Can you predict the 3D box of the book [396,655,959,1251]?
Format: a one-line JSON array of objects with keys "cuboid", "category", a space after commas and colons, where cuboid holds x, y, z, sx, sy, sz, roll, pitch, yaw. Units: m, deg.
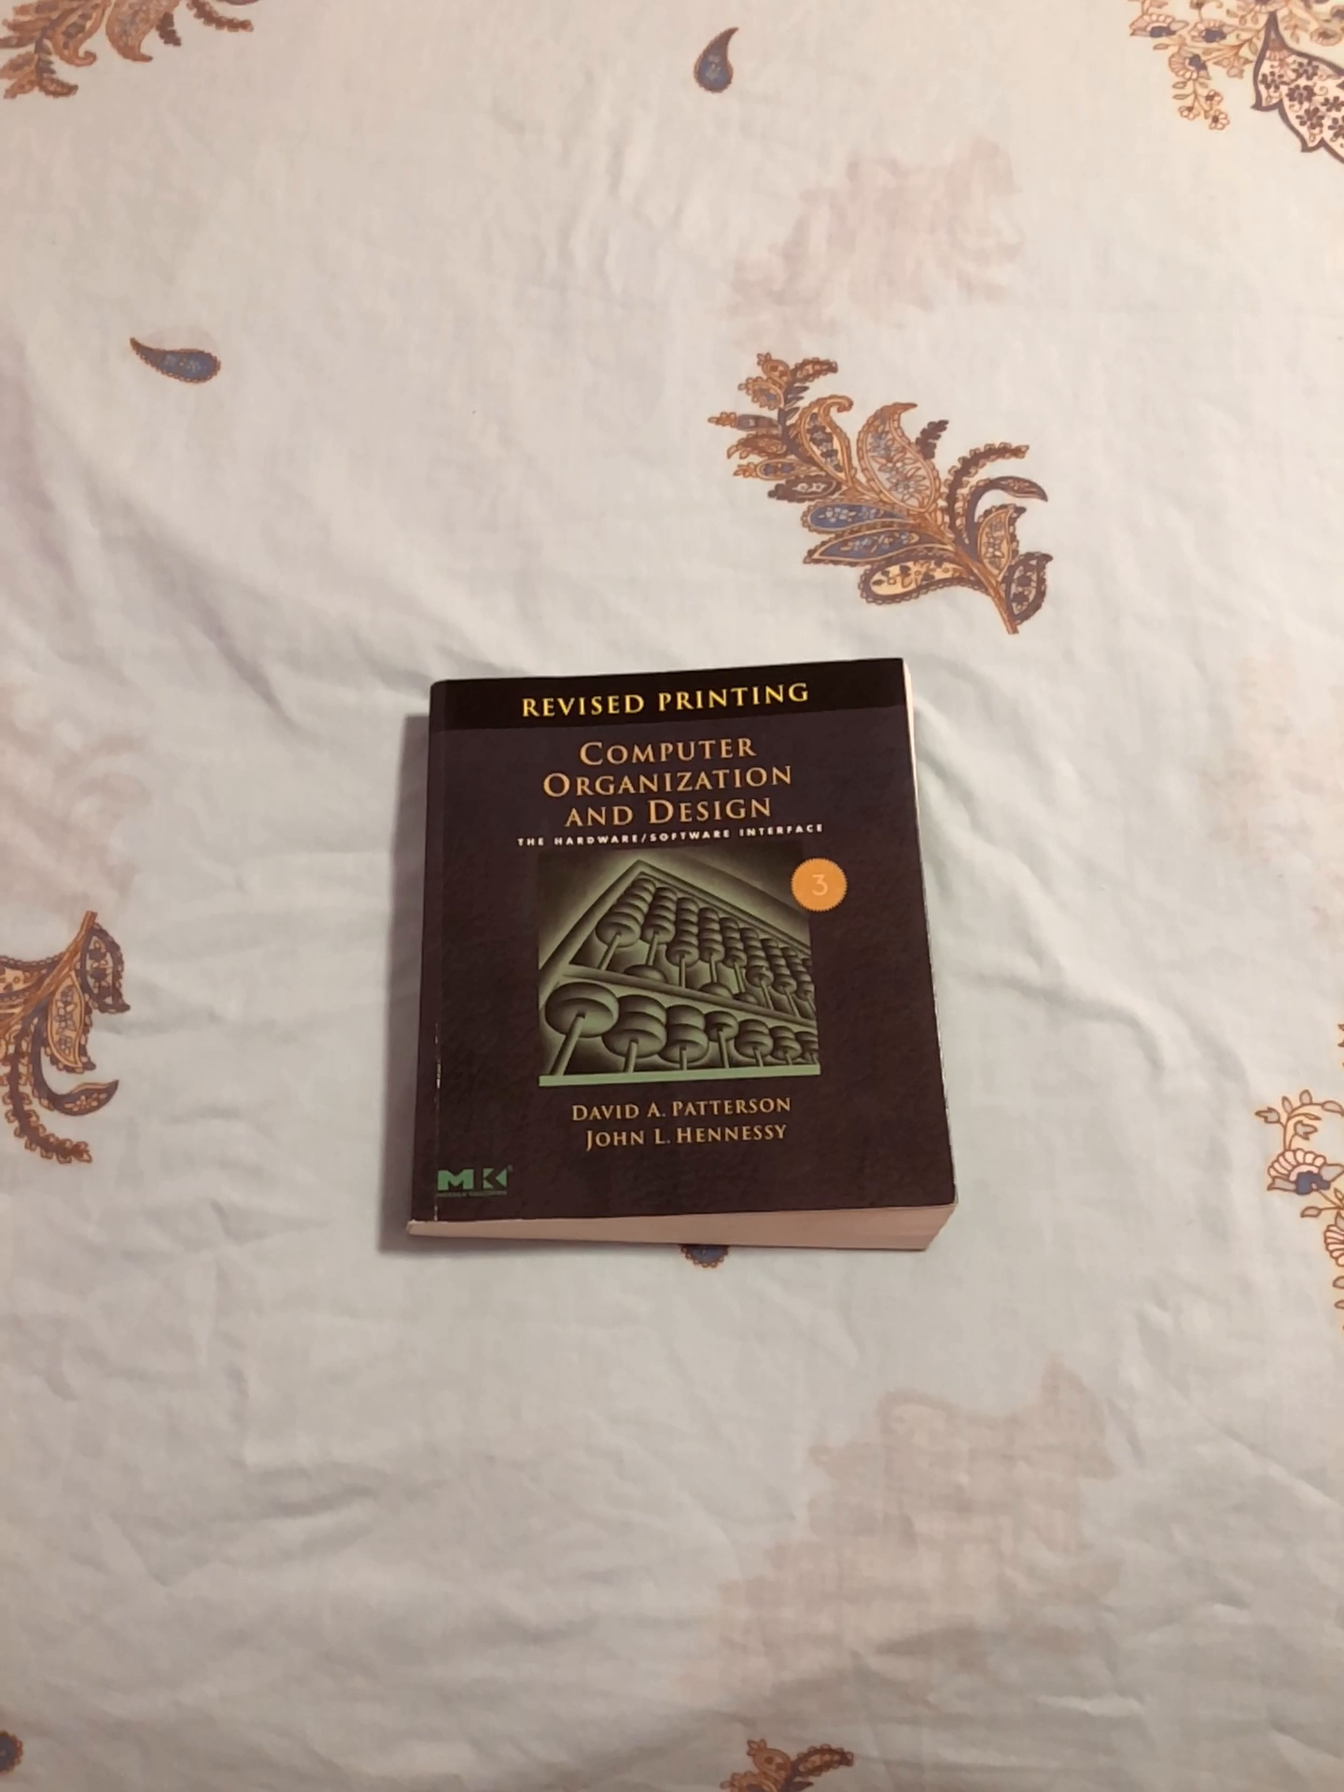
[{"cuboid": [-0.001, 0.022, 0.602, 0.201, 0.073, 0.225, -2, 70, 0], "category": "book"}]
